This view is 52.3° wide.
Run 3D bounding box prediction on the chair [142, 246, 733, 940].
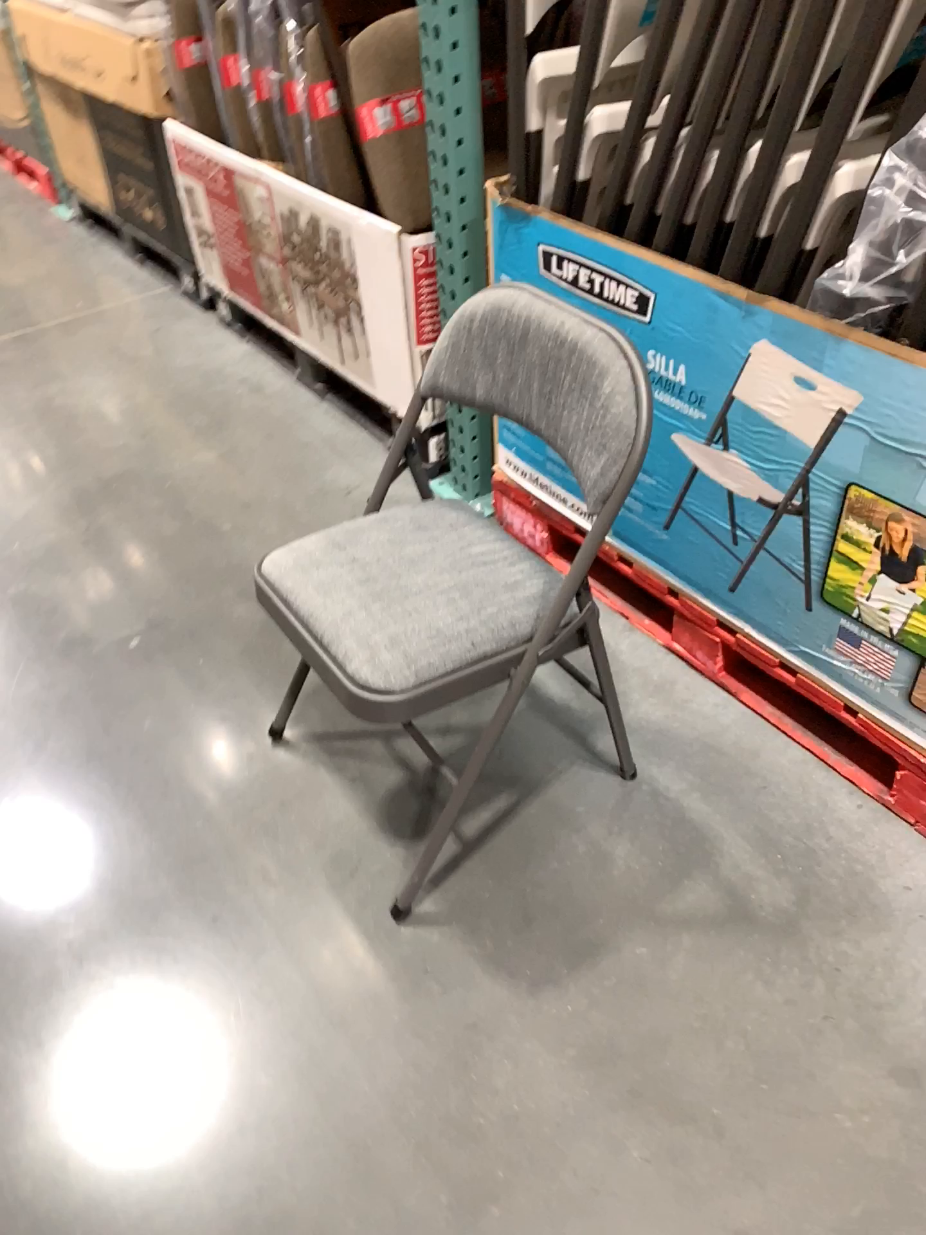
[{"bbox_3d":[-0.033,-0.047,1.330,0.503,0.687,0.496,-26,46,-24],"label":"chair"}]
